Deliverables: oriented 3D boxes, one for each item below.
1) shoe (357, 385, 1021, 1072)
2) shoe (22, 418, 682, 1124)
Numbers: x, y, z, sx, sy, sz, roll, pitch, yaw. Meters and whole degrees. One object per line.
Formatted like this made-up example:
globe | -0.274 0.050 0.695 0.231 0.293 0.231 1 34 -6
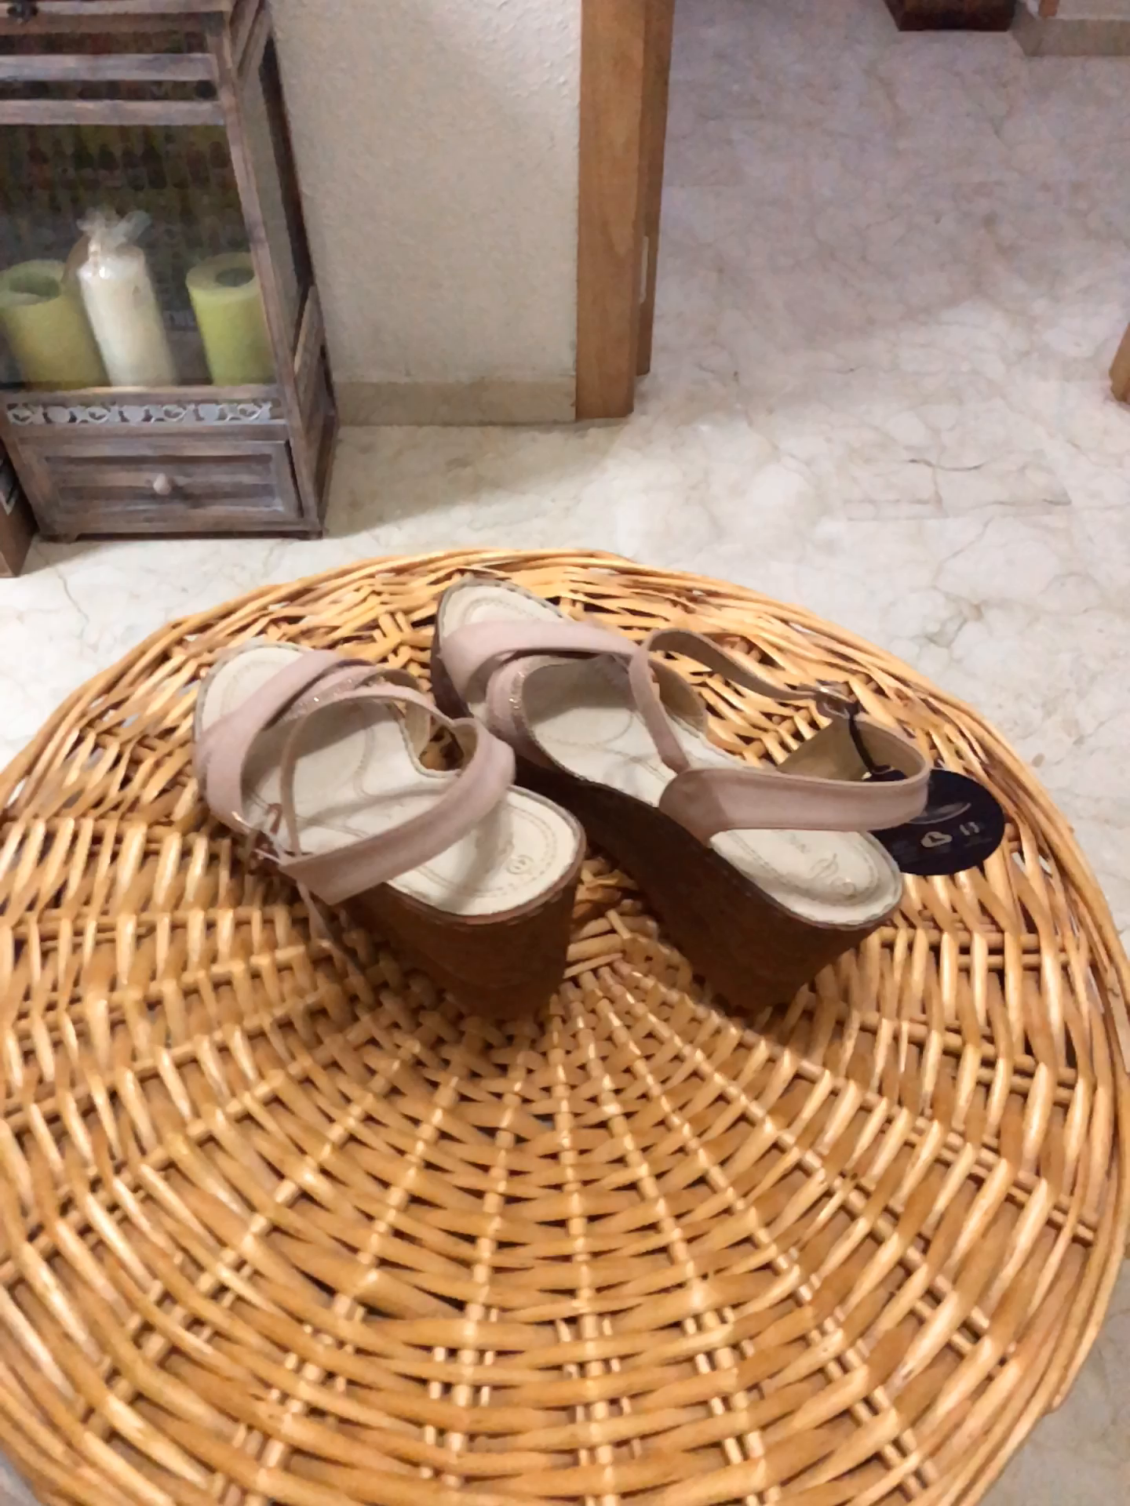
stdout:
shoe | 0.032 -0.023 0.495 0.100 0.104 0.261 -28 56 -22
shoe | -0.085 -0.006 0.477 0.112 0.100 0.251 -32 57 -24
